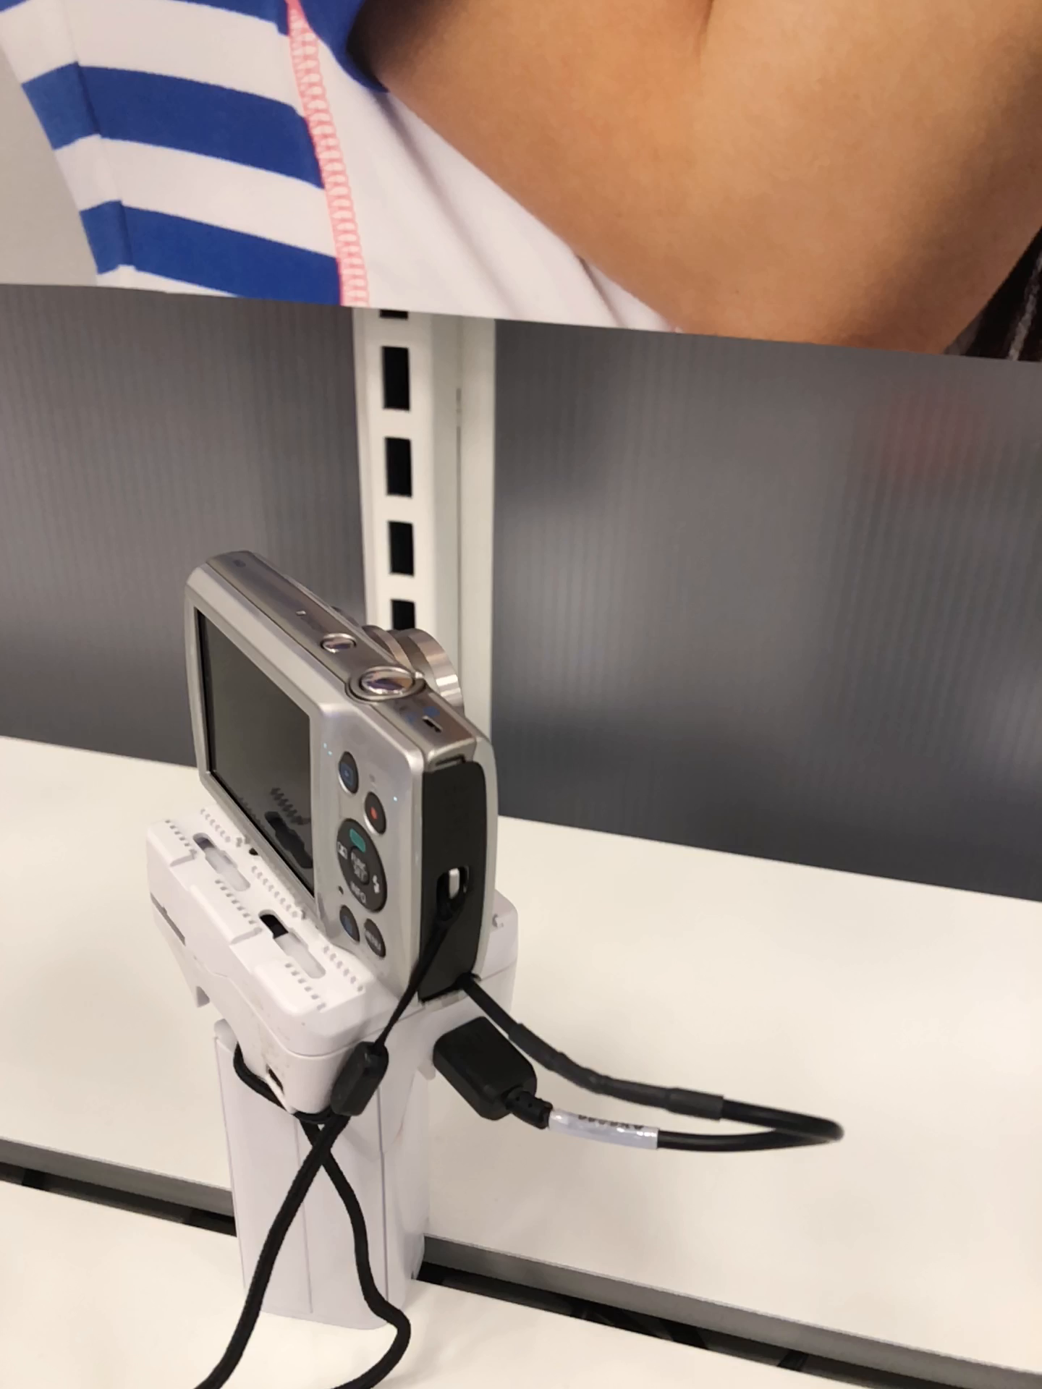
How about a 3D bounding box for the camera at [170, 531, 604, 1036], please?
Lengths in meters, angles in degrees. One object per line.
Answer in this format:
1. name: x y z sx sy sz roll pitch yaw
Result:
1. camera: -0.030 0.011 0.230 0.042 0.055 0.089 -17 33 -31
